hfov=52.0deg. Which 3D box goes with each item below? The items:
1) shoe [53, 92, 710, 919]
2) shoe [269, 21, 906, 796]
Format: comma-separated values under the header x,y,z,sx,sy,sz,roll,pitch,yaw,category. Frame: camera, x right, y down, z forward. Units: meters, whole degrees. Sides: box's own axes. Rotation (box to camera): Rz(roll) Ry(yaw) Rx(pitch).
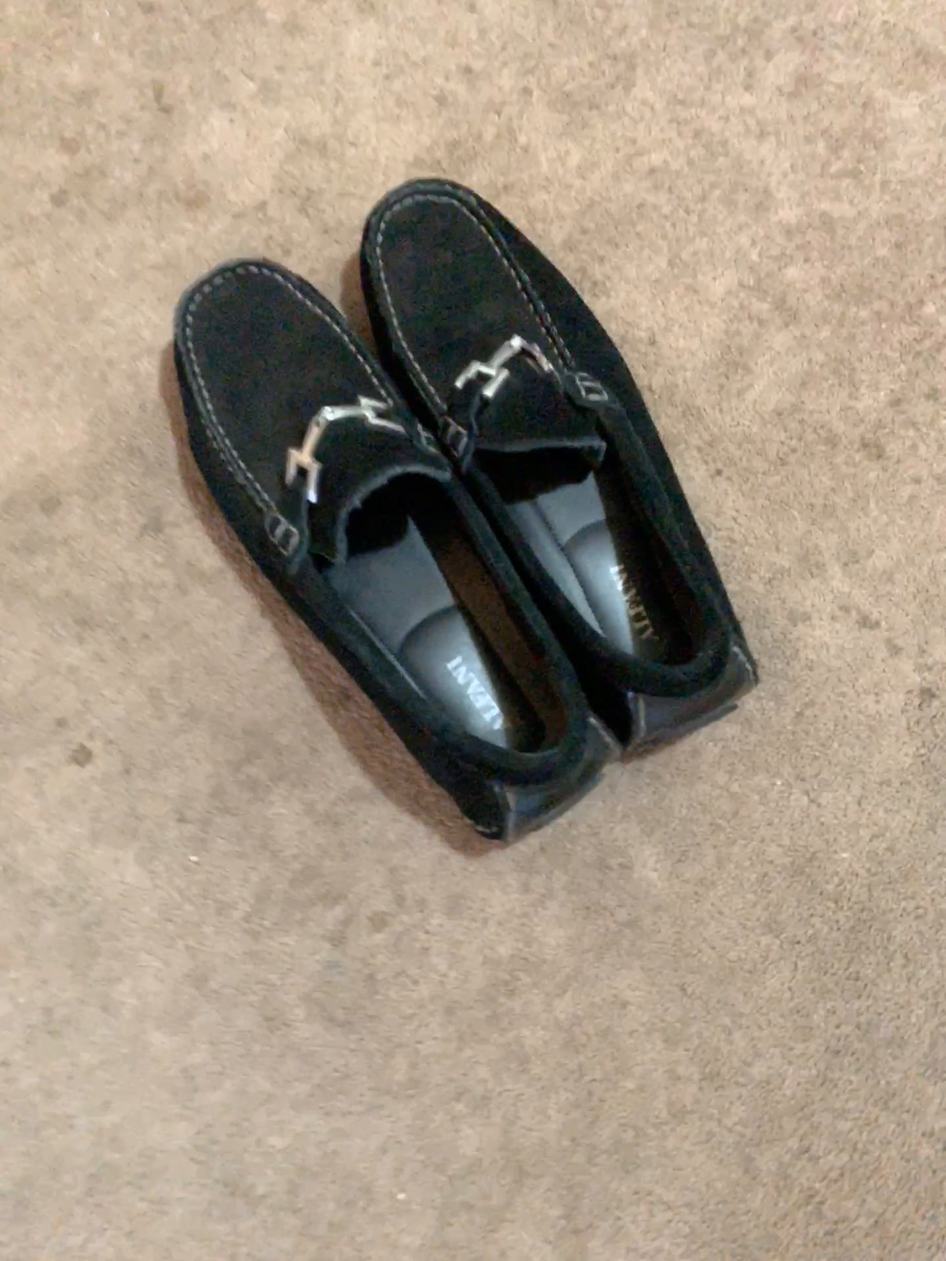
x,y,z,sx,sy,sz,roll,pitch,yaw,category
-0.043,-0.049,0.402,0.100,0.100,0.310,-29,80,-10,shoe
0.035,-0.092,0.424,0.100,0.100,0.310,-29,80,-10,shoe
